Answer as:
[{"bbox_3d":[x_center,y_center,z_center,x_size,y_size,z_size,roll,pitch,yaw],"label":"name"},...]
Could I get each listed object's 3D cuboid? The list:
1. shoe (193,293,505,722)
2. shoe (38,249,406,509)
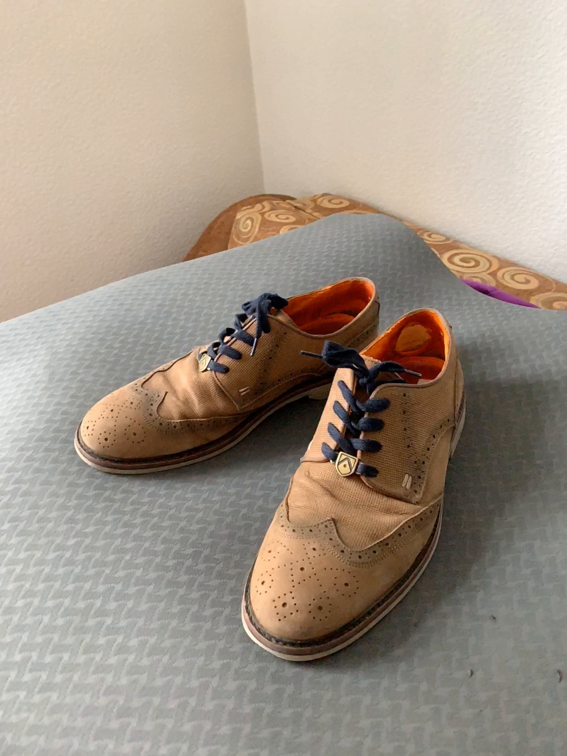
[{"bbox_3d":[0.068,0.060,0.419,0.110,0.090,0.291,14,43,23],"label":"shoe"},{"bbox_3d":[-0.046,-0.013,0.530,0.300,0.090,0.111,-23,42,-20],"label":"shoe"}]
